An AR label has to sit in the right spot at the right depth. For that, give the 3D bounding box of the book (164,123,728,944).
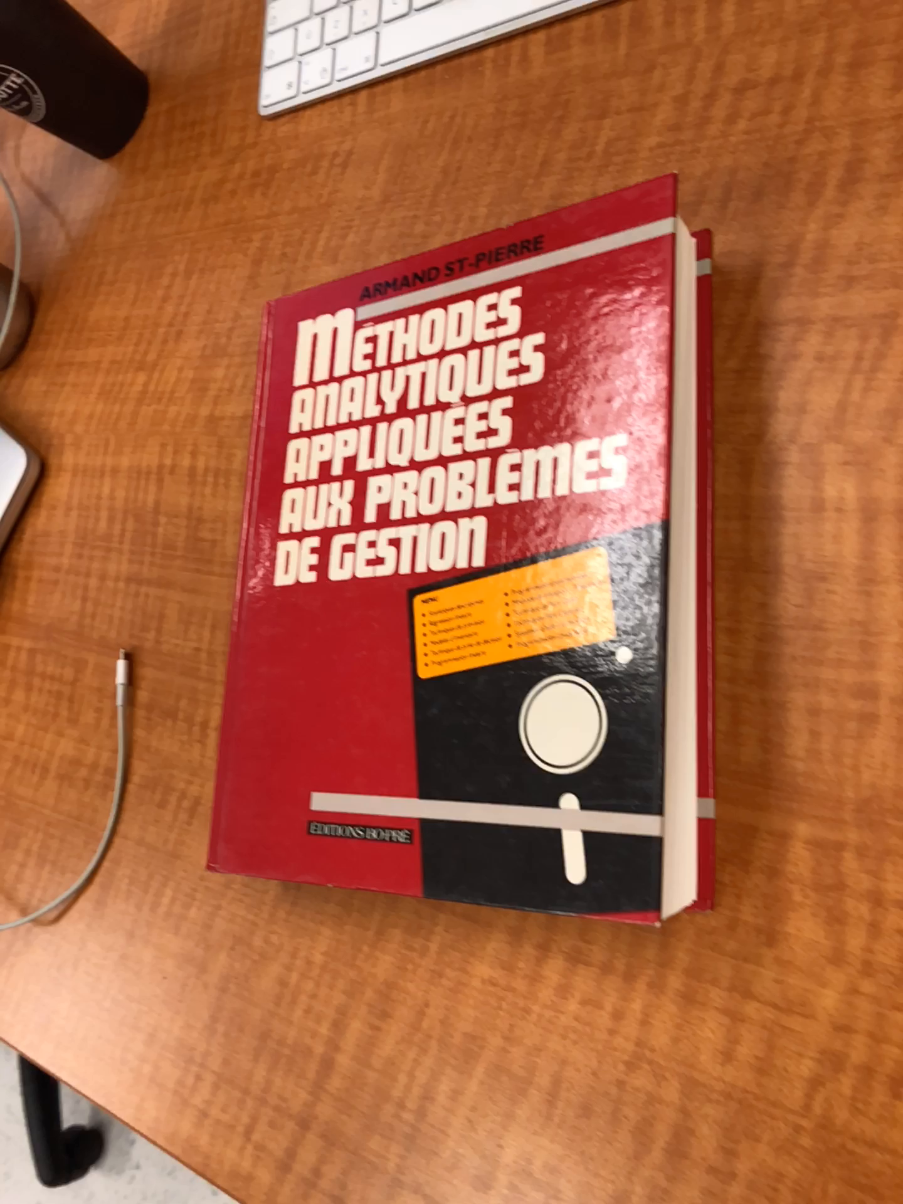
[{"bbox_3d":[-0.005,-0.019,0.369,0.201,0.050,0.250,-4,76,34],"label":"book"}]
